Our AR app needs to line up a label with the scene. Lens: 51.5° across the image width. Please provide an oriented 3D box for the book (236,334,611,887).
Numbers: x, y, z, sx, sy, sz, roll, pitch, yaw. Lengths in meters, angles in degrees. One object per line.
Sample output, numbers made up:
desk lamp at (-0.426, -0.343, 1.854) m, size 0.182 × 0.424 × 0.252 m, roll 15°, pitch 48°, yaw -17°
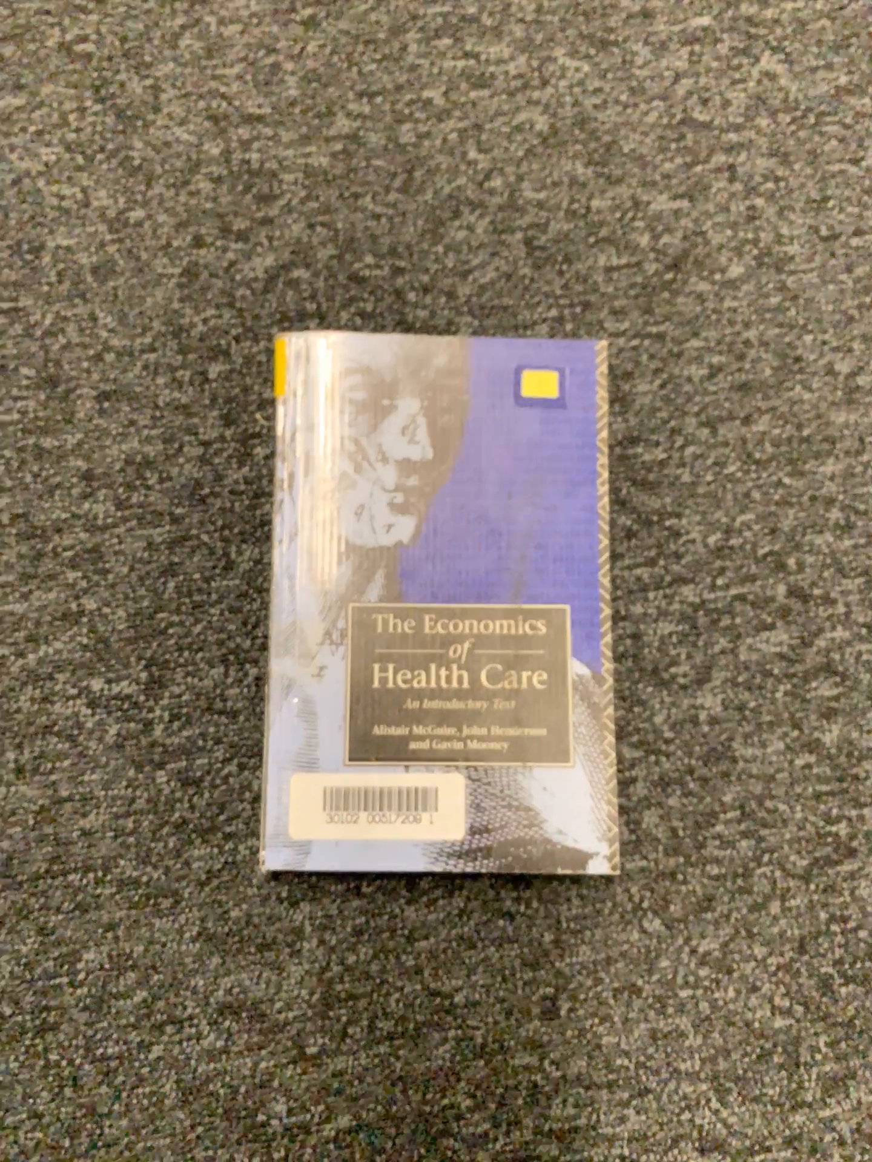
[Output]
book at (-0.003, 0.009, 0.355) m, size 0.135 × 0.030 × 0.207 m, roll 1°, pitch 82°, yaw -2°
